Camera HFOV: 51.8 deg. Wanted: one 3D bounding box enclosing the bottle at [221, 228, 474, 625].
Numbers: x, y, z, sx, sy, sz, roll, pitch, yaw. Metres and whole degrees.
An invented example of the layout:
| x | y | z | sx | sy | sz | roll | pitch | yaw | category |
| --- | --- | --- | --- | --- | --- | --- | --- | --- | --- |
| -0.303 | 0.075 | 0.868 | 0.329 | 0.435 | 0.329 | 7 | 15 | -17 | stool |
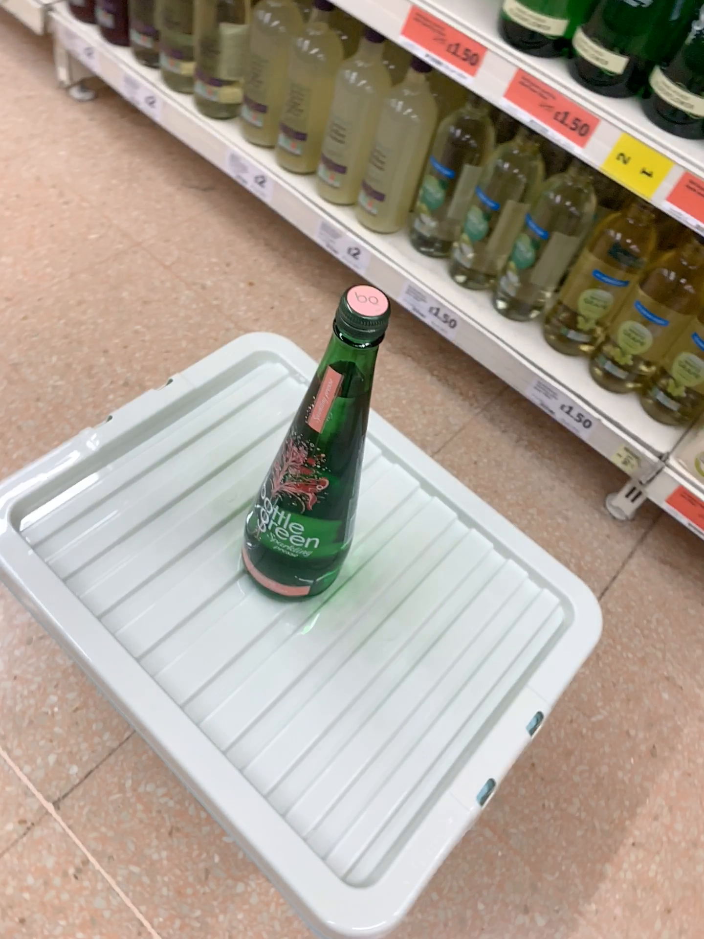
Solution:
| x | y | z | sx | sy | sz | roll | pitch | yaw | category |
| --- | --- | --- | --- | --- | --- | --- | --- | --- | --- |
| -0.021 | -0.007 | 0.496 | 0.090 | 0.287 | 0.085 | 6 | 55 | -9 | bottle |
